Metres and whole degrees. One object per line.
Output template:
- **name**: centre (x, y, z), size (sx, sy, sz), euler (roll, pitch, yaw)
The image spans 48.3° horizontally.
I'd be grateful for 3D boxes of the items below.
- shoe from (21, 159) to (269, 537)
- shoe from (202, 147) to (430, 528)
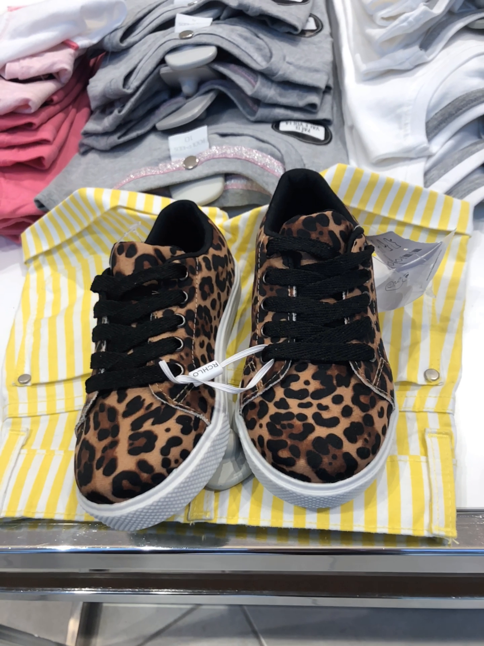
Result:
- **shoe**: centre (-0.038, 0.010, 0.275), size (0.080, 0.060, 0.171), euler (-18, 50, 30)
- **shoe**: centre (0.037, 0.002, 0.271), size (0.080, 0.080, 0.171), euler (0, 57, 8)
